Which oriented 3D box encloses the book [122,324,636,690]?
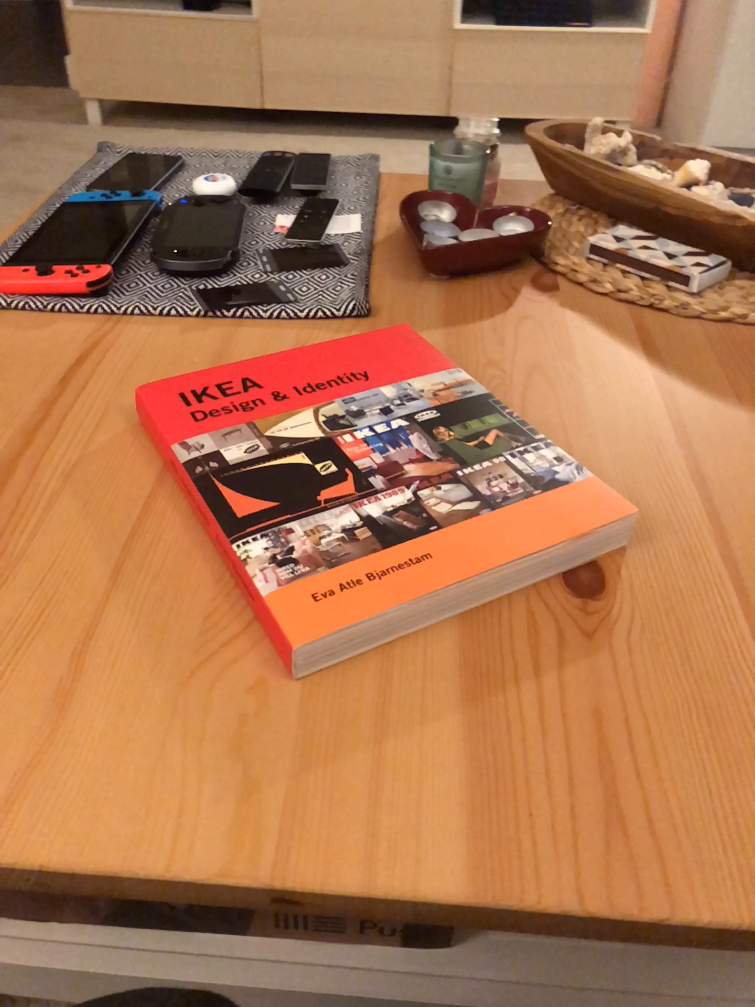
[{"bbox_3d":[-0.013,-0.024,0.514,0.216,0.030,0.255,-18,42,-24],"label":"book"}]
